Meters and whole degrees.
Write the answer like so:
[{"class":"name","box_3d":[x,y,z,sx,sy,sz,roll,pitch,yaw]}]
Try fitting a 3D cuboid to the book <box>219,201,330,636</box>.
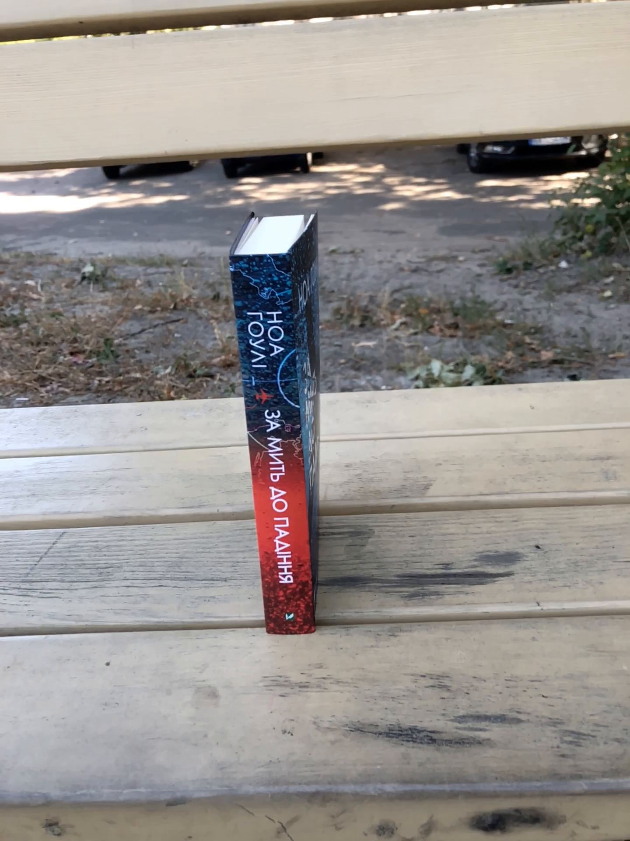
[{"class":"book","box_3d":[-0.014,-0.008,0.385,0.040,0.199,0.141,-1,25,2]}]
